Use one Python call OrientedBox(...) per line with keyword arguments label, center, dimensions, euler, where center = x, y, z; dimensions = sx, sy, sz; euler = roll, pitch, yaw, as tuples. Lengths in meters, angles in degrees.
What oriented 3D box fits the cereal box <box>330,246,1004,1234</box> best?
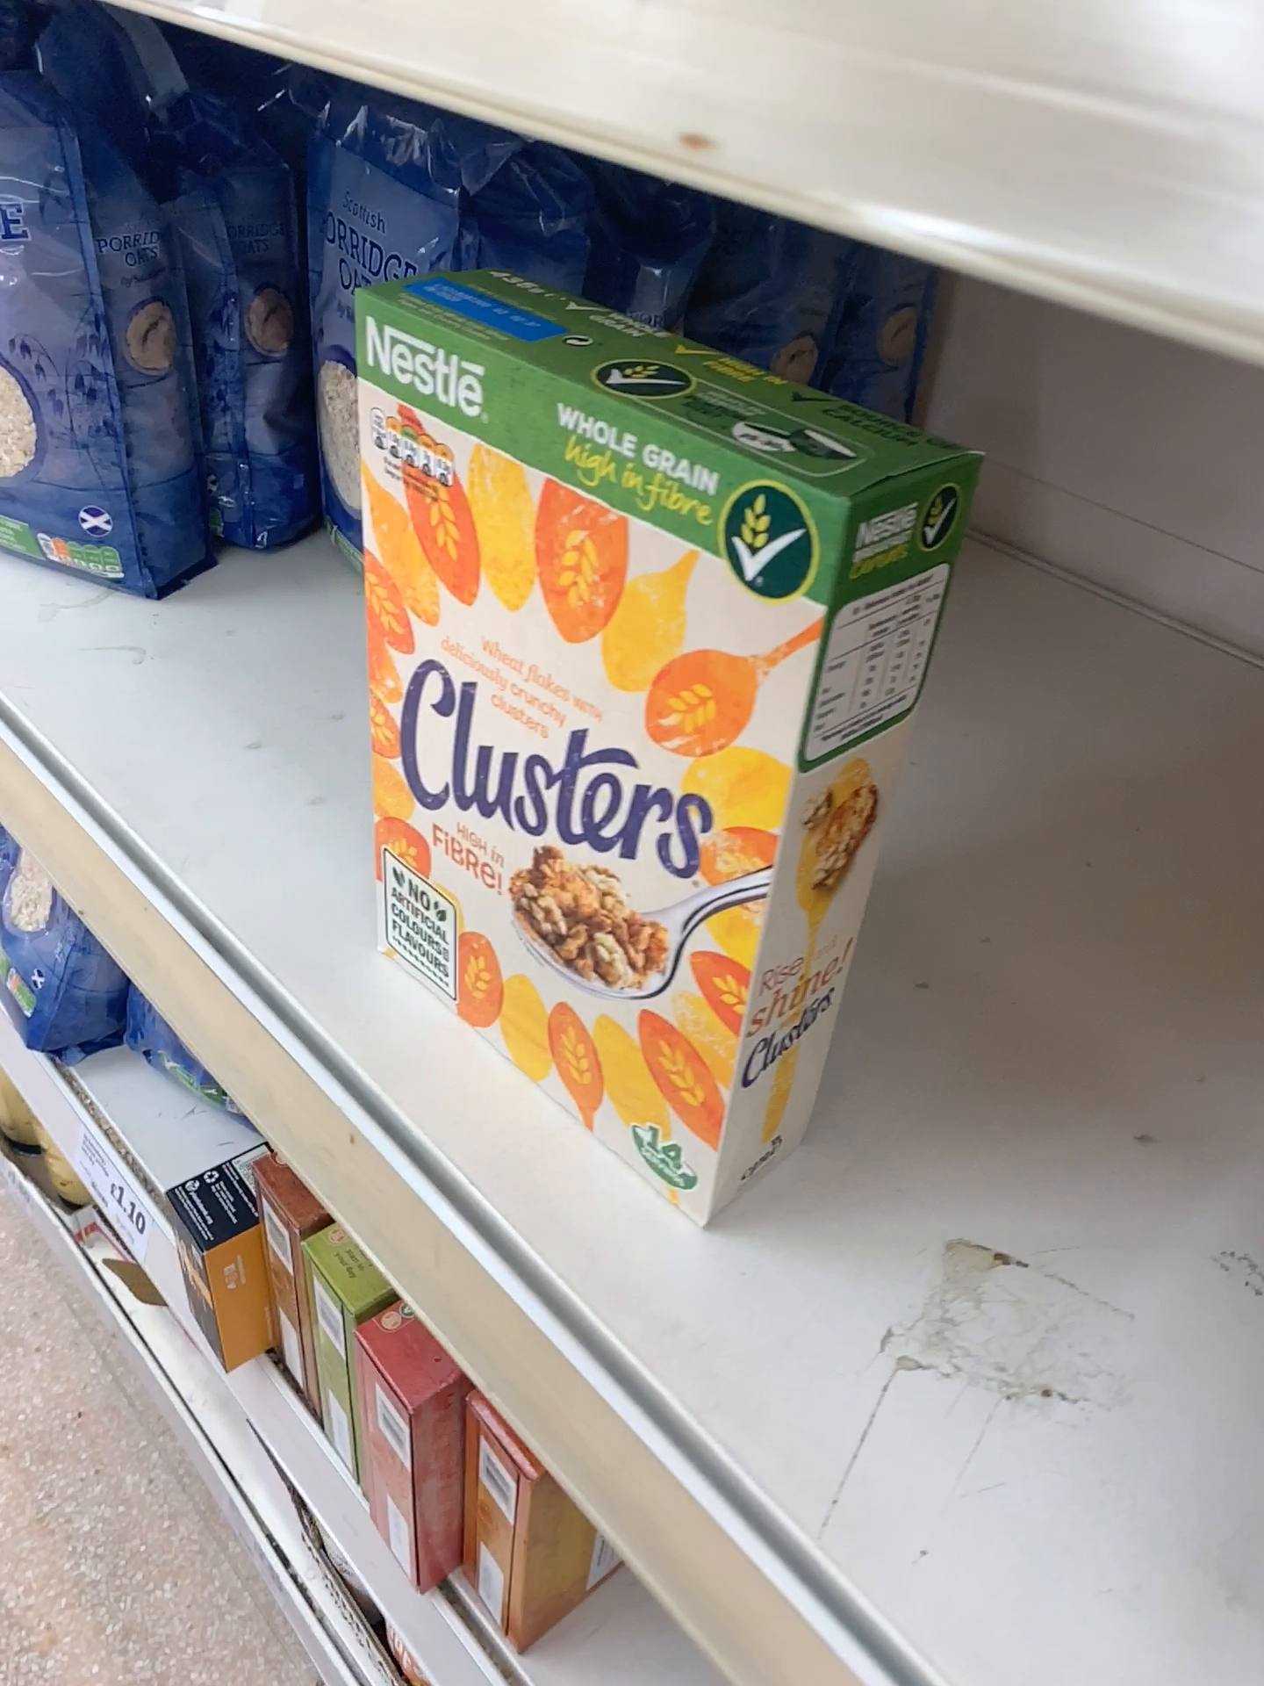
OrientedBox(label="cereal box", center=(-0.012, -0.031, 0.438), dimensions=(0.201, 0.267, 0.060), euler=(34, 44, 31))
